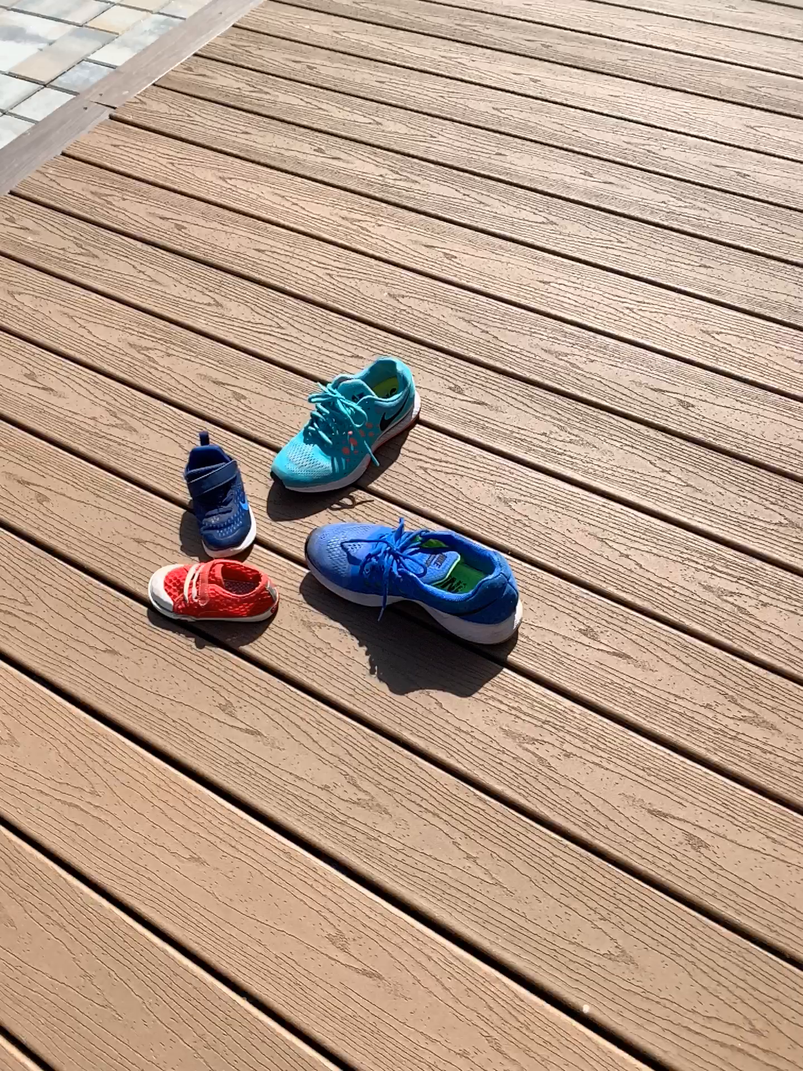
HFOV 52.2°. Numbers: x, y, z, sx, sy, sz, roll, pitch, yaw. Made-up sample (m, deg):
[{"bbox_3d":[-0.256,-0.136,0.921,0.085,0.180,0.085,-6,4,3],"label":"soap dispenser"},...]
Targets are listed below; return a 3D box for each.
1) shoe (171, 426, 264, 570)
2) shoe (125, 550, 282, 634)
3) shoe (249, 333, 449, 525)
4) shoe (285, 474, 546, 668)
[{"bbox_3d":[-0.247,-0.052,1.099,0.090,0.070,0.171,-13,55,-6],"label":"shoe"},{"bbox_3d":[-0.245,0.071,1.029,0.170,0.060,0.080,2,55,4],"label":"shoe"},{"bbox_3d":[-0.067,-0.156,1.161,0.120,0.090,0.270,36,64,24],"label":"shoe"},{"bbox_3d":[0.017,0.040,1.020,0.291,0.090,0.120,20,59,16],"label":"shoe"}]
